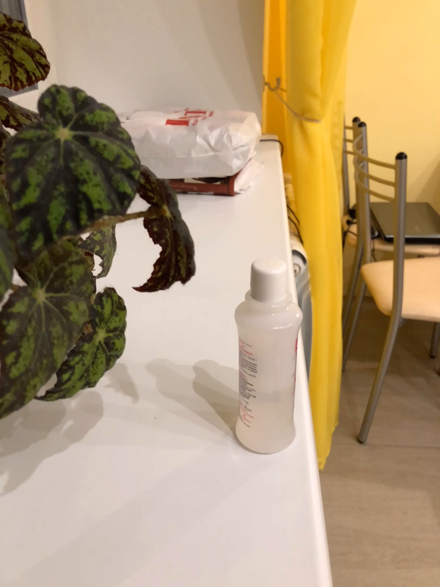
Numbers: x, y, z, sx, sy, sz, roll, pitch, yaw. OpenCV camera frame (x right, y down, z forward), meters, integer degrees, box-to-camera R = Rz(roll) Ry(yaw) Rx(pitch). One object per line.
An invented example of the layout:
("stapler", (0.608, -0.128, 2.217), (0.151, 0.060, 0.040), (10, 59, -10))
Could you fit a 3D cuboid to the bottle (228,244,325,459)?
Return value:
("bottle", (0.027, 0.032, 0.257), (0.036, 0.105, 0.037), (-1, 28, 0))
